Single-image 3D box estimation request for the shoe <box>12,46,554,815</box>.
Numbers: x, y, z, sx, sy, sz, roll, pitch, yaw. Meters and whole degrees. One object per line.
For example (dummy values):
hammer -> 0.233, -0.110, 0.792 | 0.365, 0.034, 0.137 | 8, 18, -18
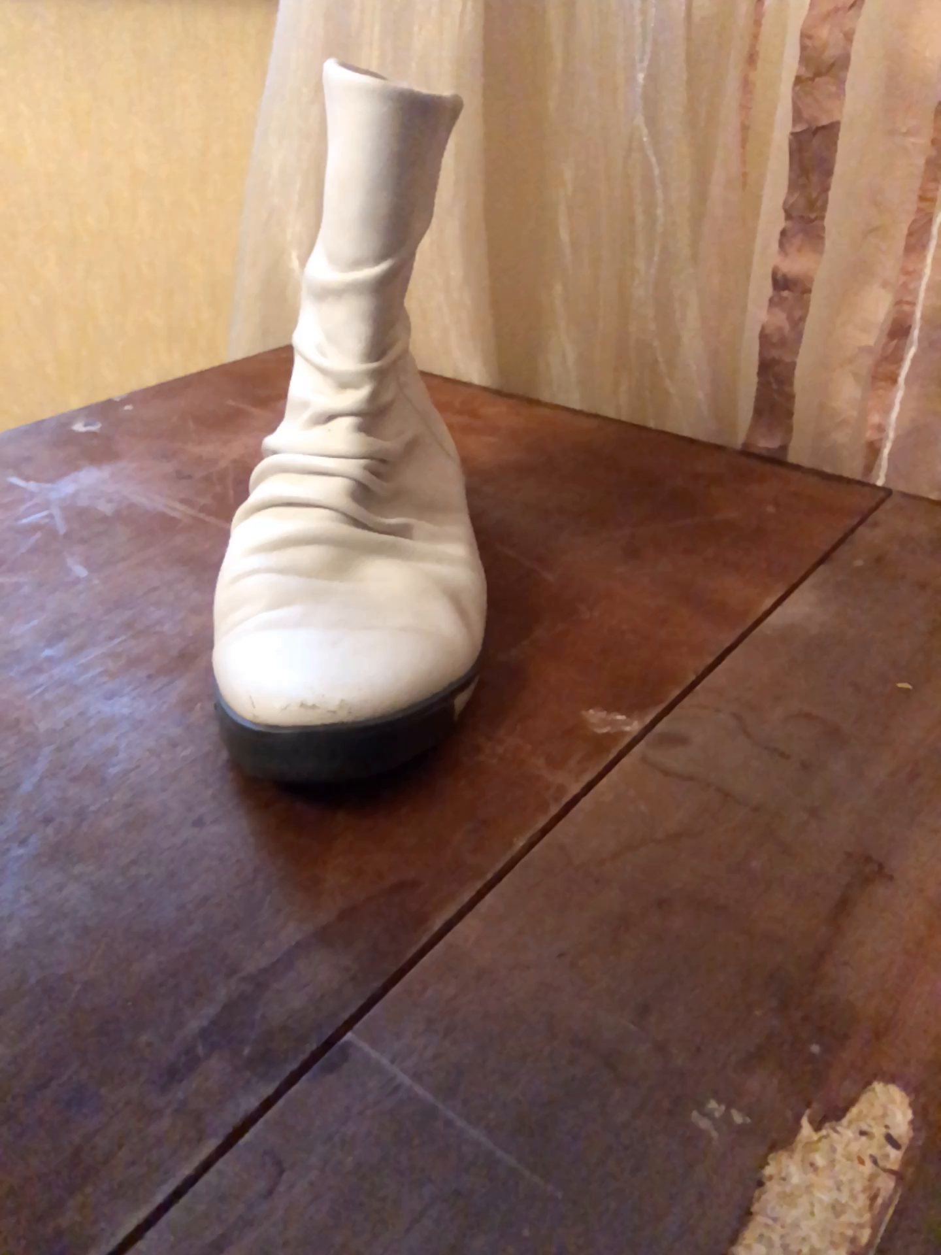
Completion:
shoe -> -0.030, -0.088, 0.341 | 0.100, 0.169, 0.241 | 4, 31, 3
